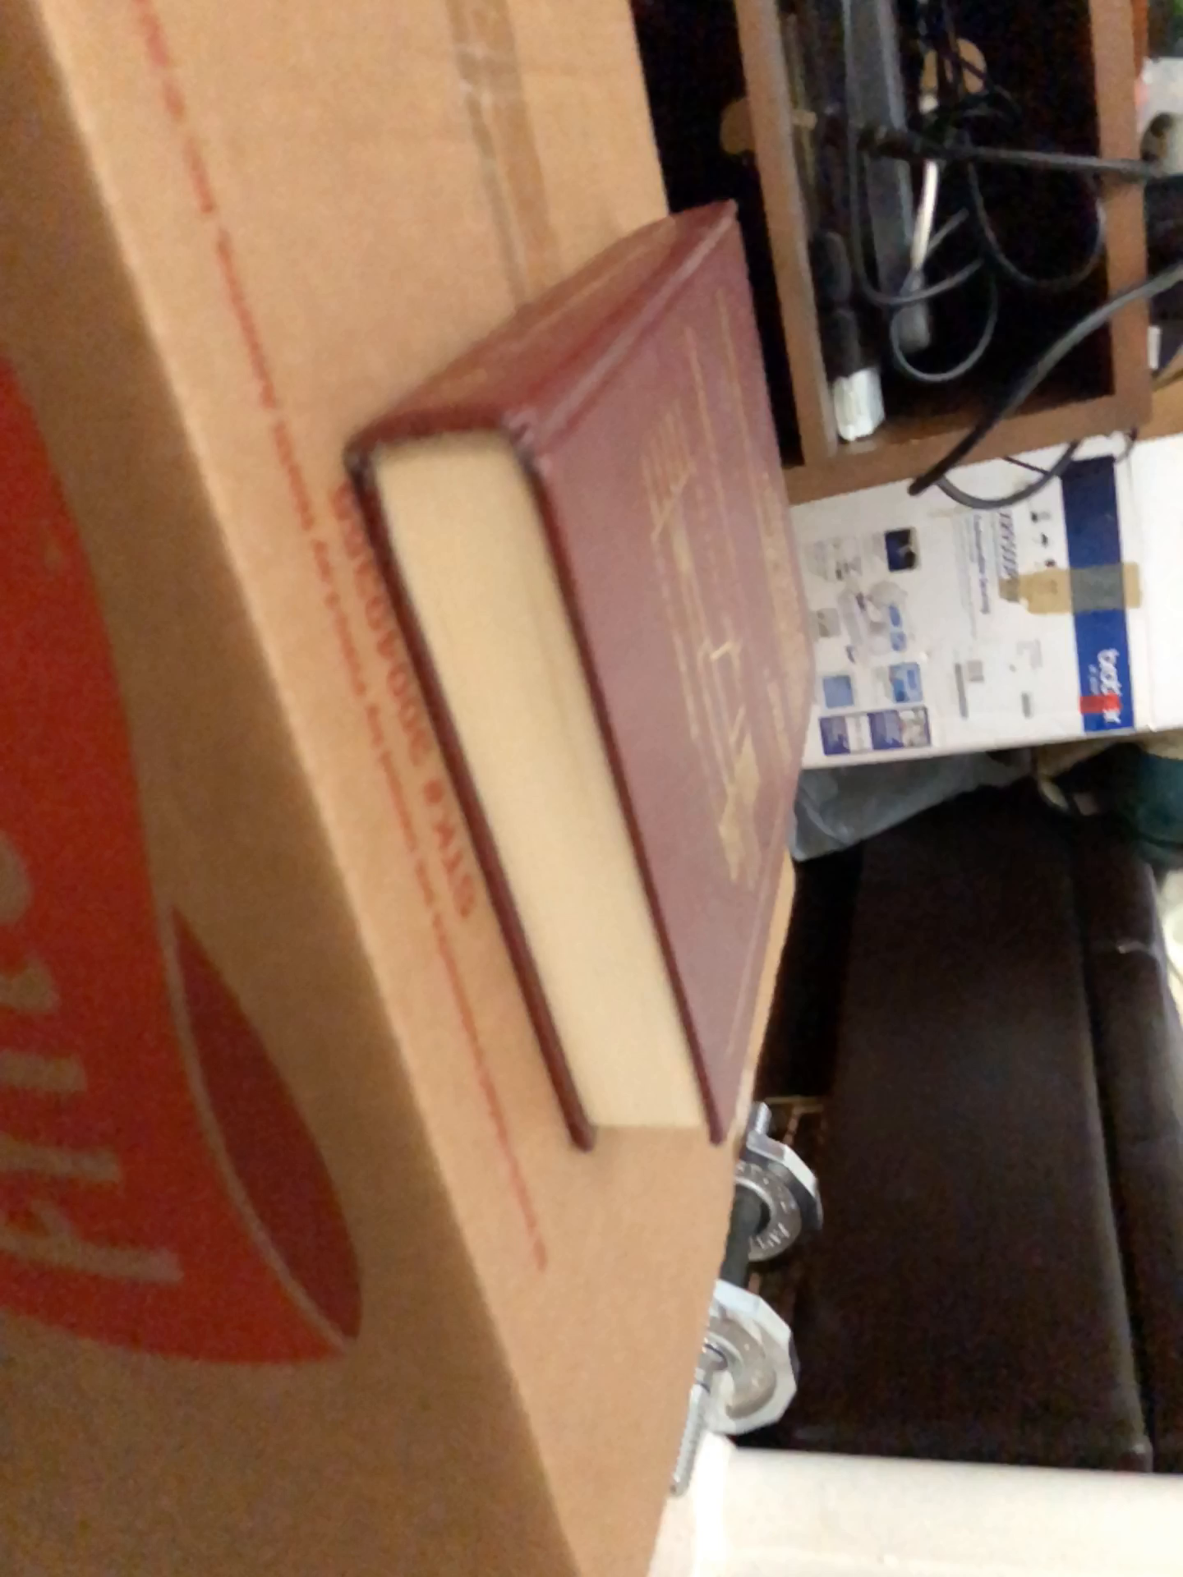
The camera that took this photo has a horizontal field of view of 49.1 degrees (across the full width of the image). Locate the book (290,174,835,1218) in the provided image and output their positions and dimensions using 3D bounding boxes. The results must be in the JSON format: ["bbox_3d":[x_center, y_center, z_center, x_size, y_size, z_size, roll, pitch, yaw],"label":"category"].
[{"bbox_3d":[0.021,-0.046,0.347,0.241,0.040,0.190,-65,144,-57],"label":"book"}]
